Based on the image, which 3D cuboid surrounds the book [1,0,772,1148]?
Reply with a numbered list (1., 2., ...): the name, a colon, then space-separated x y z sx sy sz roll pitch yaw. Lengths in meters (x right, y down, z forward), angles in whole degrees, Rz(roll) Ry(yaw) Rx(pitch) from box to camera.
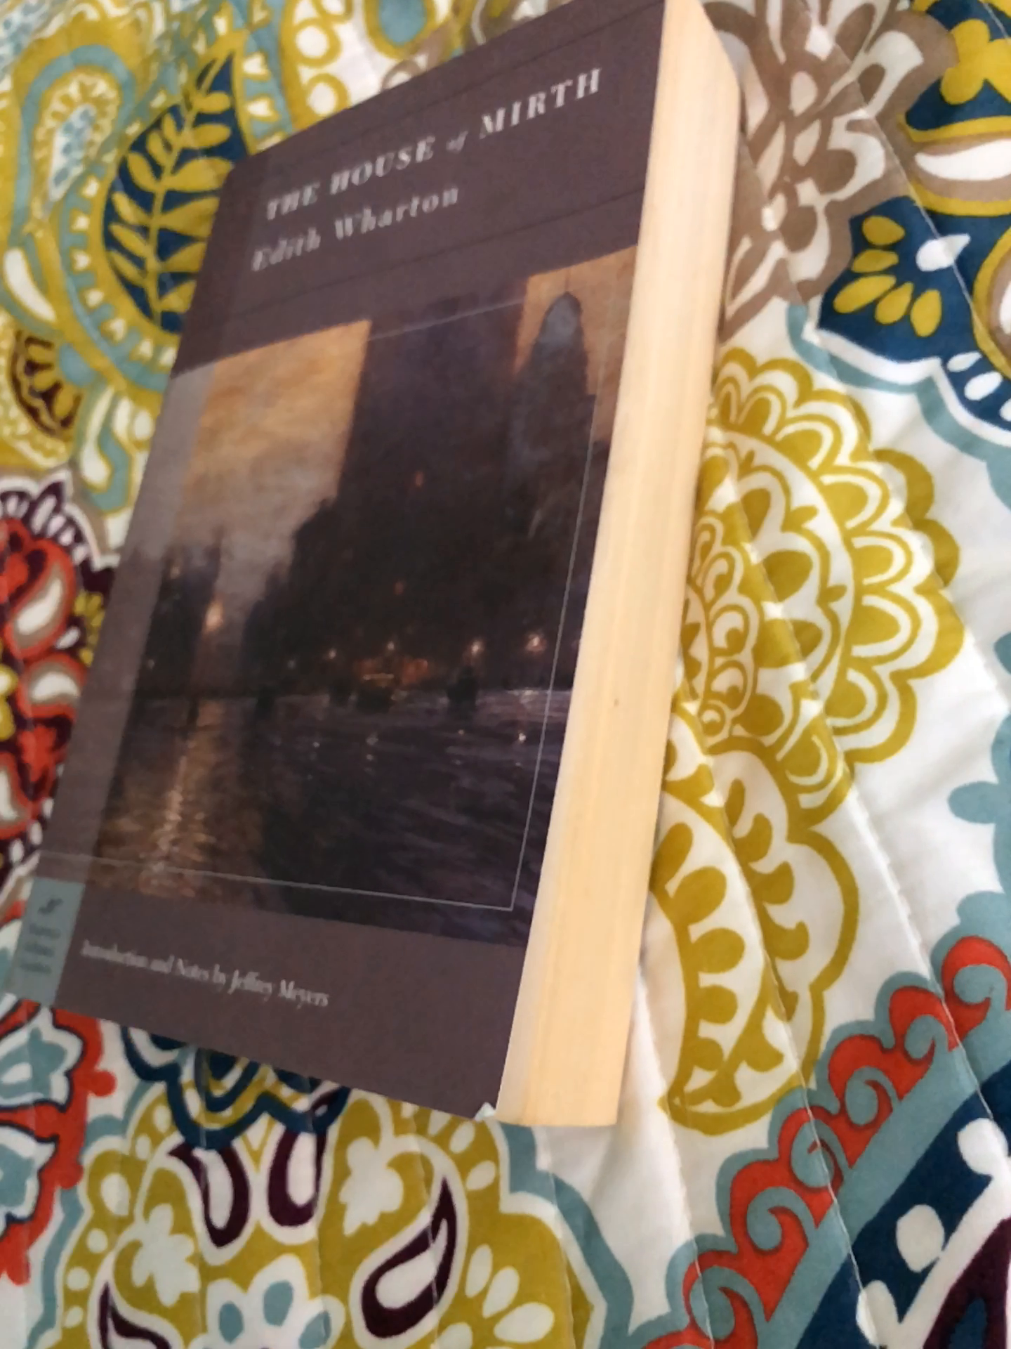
1. book: -0.029 -0.024 0.239 0.142 0.040 0.195 0 76 39
